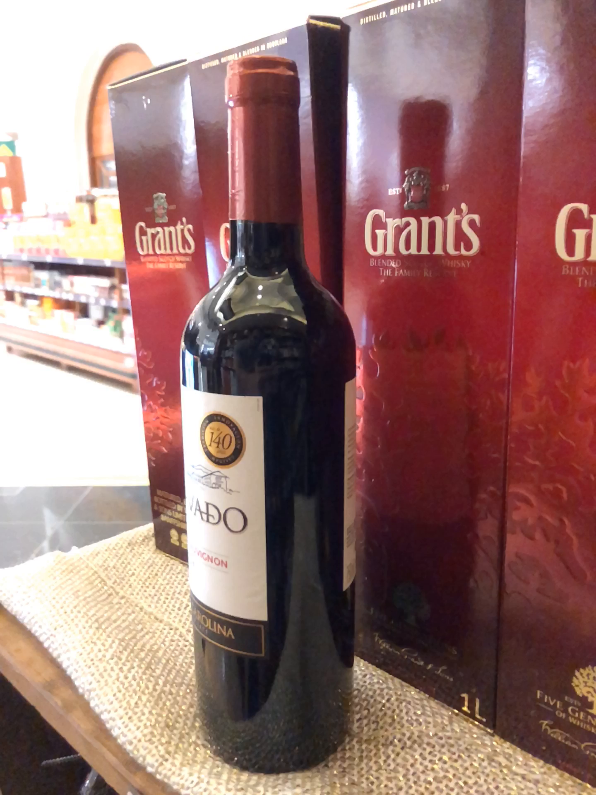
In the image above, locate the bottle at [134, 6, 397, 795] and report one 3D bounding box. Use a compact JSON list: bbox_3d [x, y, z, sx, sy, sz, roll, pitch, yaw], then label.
[{"bbox_3d":[-0.012,0.010,0.281,0.070,0.289,0.080,-9,16,-27],"label":"bottle"}]
